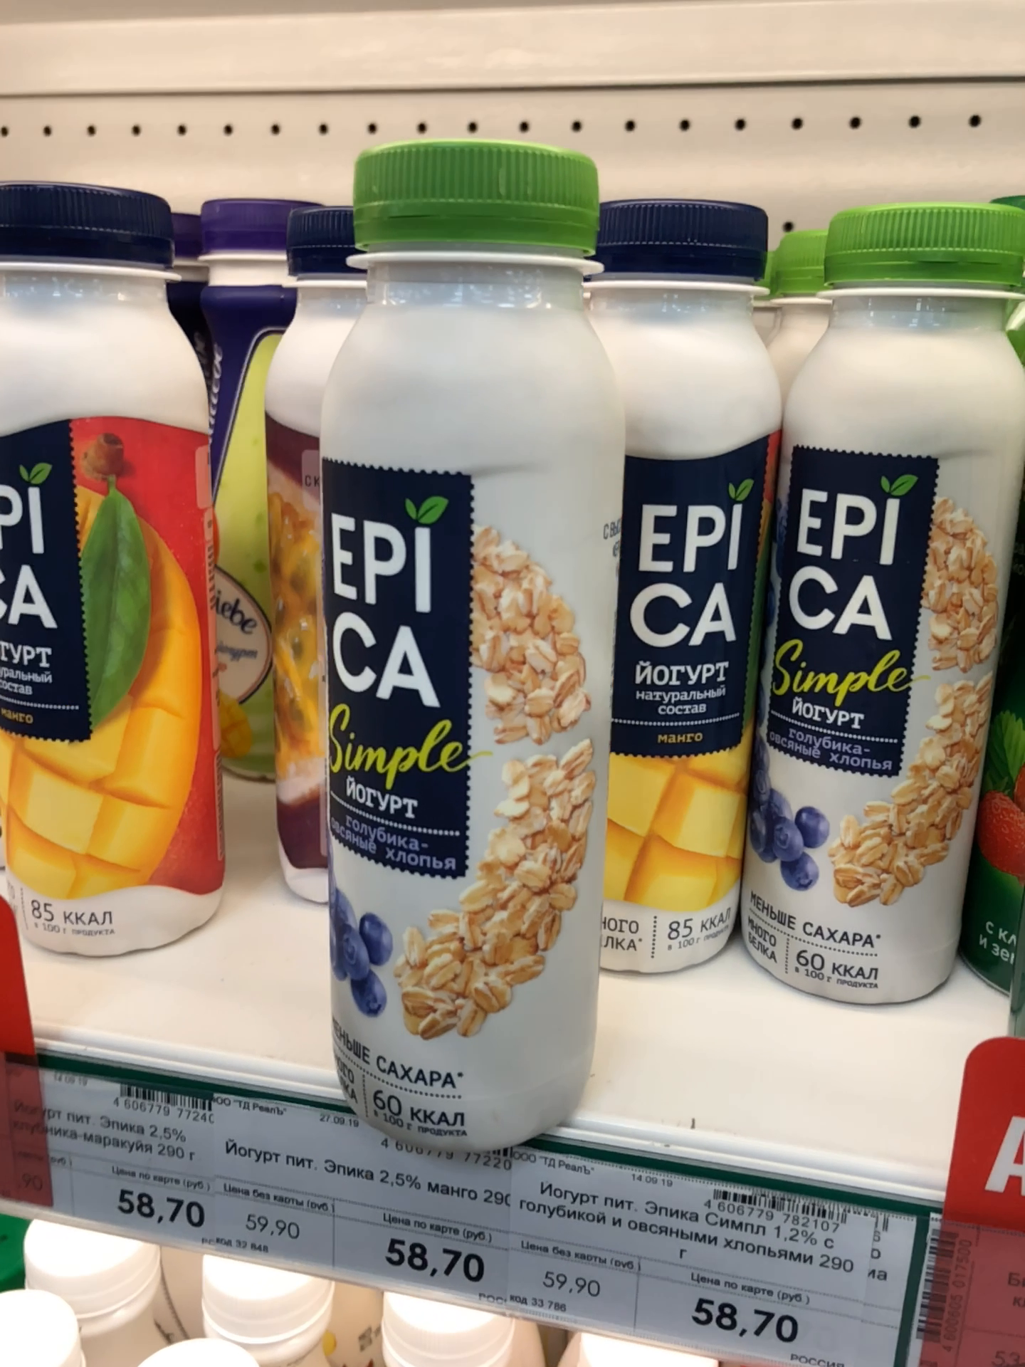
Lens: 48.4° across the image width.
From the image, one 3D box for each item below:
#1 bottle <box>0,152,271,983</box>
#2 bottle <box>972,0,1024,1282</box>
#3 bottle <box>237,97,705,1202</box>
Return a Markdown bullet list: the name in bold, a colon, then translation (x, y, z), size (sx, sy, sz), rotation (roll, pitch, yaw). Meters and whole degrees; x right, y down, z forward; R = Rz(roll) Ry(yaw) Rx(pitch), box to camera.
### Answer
- **bottle**: translation (-0.097, -0.025, 0.263), size (0.053, 0.170, 0.049), rotation (1, 17, 0)
- **bottle**: translation (0.122, -0.003, 0.188), size (0.053, 0.182, 0.052), rotation (1, 17, 0)
- **bottle**: translation (-0.007, -0.004, 0.204), size (0.053, 0.170, 0.052), rotation (1, 17, 0)
